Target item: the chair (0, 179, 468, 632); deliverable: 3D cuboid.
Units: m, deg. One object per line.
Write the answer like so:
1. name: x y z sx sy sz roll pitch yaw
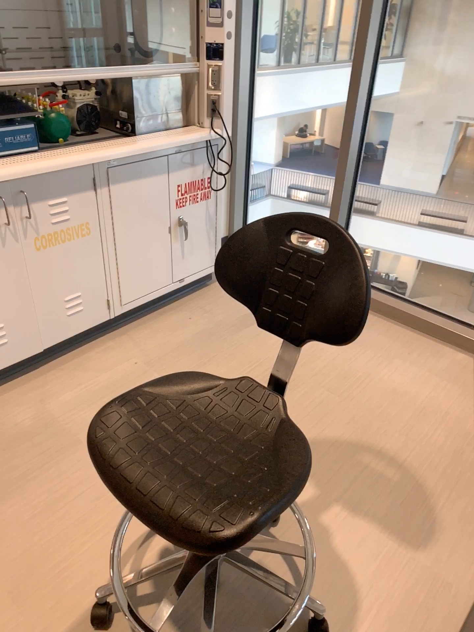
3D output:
1. chair: -0.037 0.306 1.110 0.672 0.962 0.664 22 37 28
